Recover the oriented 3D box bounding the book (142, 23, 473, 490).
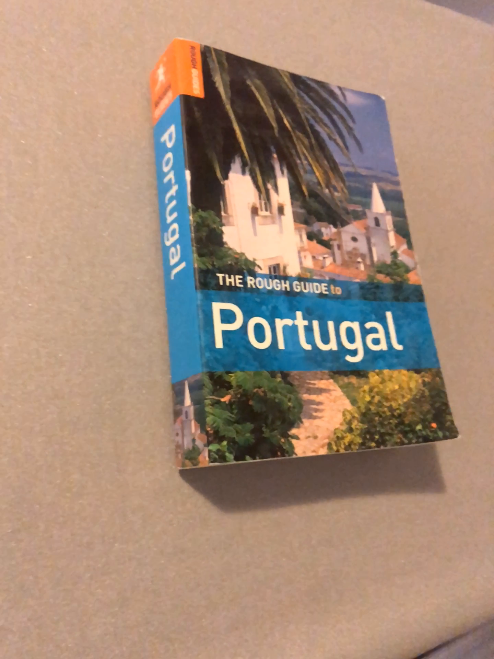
[{"bbox_3d":[0.027,-0.034,0.277,0.139,0.040,0.204,2,73,-29],"label":"book"}]
